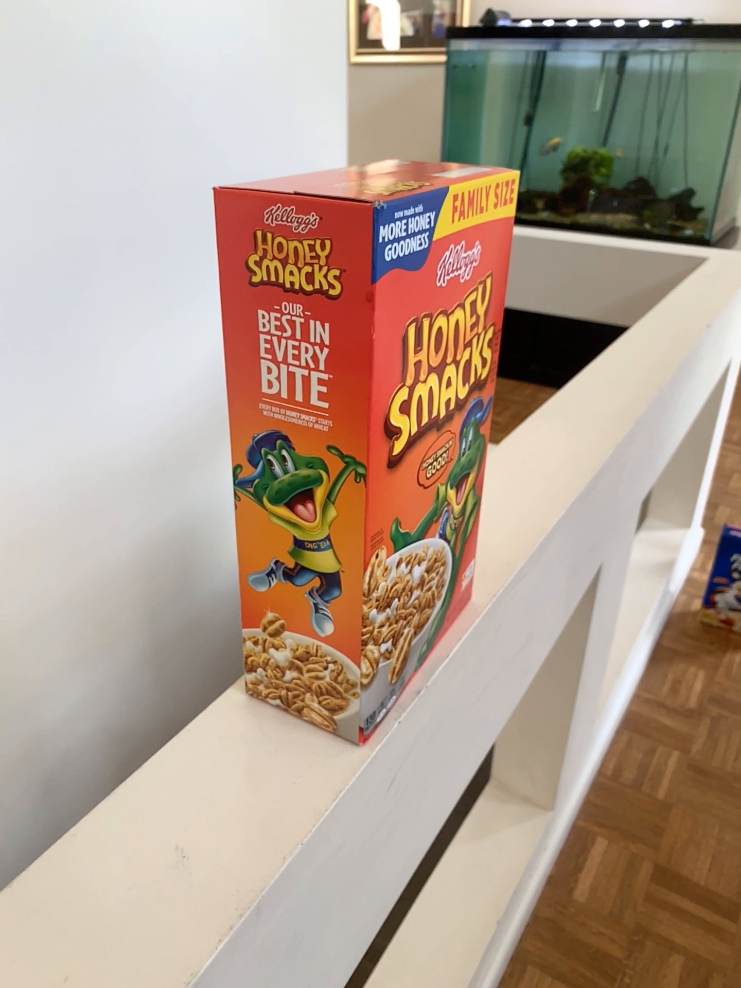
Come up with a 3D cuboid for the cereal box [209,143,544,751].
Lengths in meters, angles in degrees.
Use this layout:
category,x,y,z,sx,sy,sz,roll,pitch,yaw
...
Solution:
category,x,y,z,sx,sy,sz,roll,pitch,yaw
cereal box,0.014,-0.041,0.512,0.100,0.338,0.211,16,31,25
